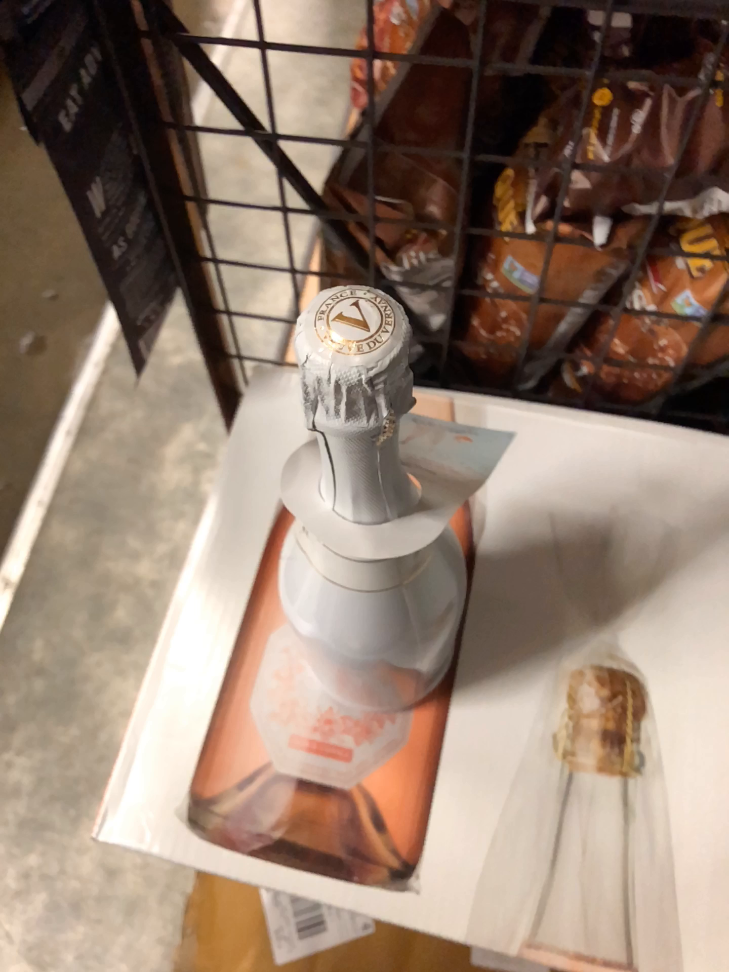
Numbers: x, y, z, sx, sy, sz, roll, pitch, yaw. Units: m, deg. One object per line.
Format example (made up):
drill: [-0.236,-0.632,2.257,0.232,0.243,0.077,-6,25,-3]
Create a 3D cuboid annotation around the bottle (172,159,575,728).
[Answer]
bottle: [0.009,0.021,0.350,0.094,0.311,0.086,-1,62,1]
